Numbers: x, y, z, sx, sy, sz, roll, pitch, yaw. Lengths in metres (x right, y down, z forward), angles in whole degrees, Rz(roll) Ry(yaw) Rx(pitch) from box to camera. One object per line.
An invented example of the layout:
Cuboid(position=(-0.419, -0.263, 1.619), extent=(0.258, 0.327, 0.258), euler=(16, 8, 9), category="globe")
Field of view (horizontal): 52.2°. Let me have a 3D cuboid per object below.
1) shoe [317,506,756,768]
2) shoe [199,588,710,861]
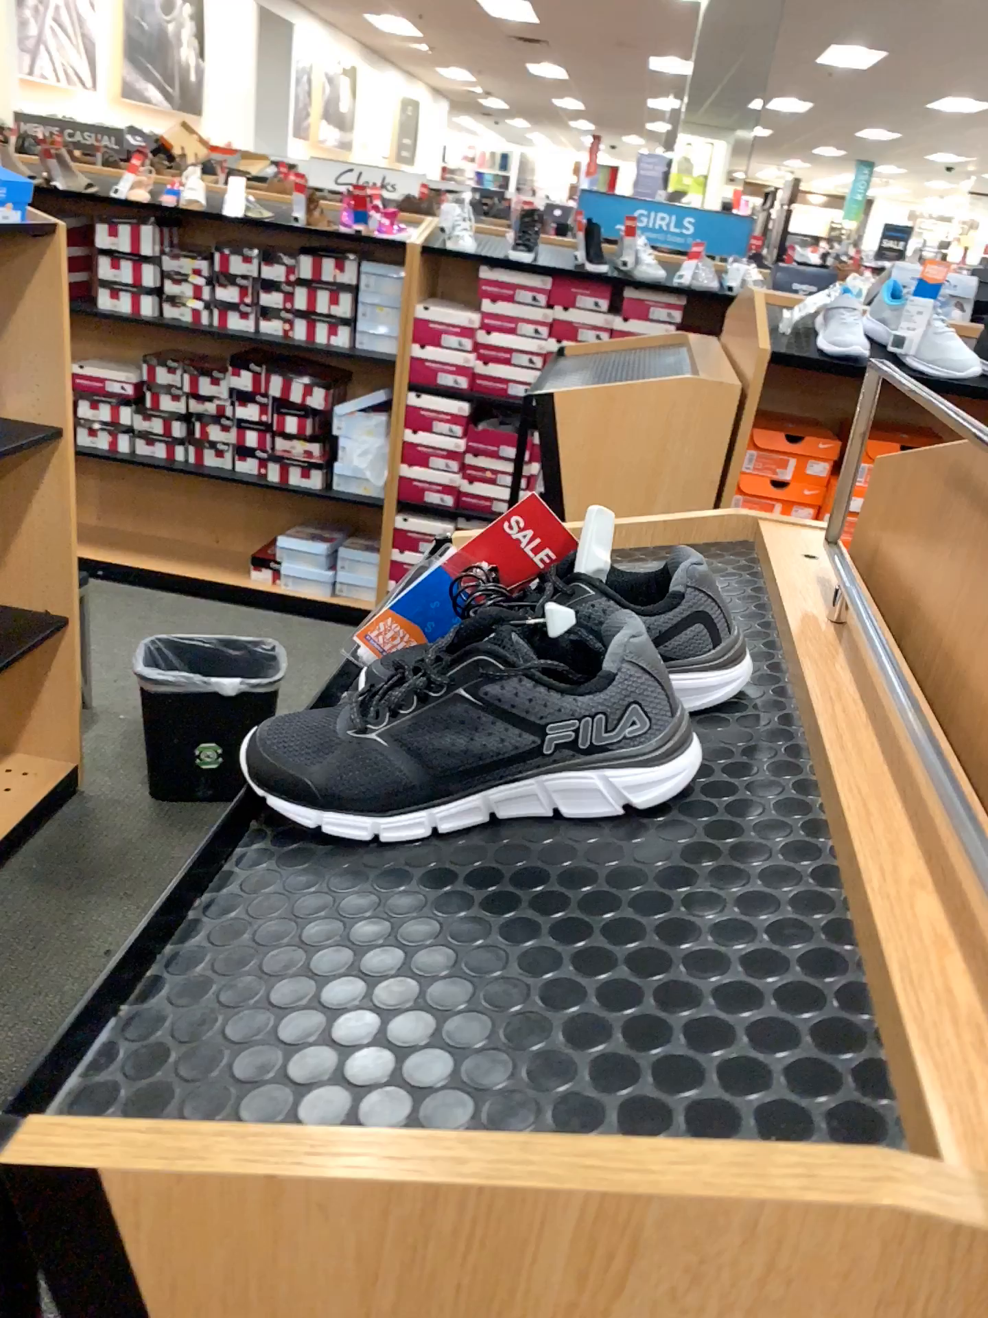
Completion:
Cuboid(position=(0.027, -0.016, 0.634), extent=(0.244, 0.090, 0.100), euler=(-10, 24, 4), category="shoe")
Cuboid(position=(-0.017, 0.032, 0.551), extent=(0.244, 0.090, 0.100), euler=(-8, 13, 5), category="shoe")
